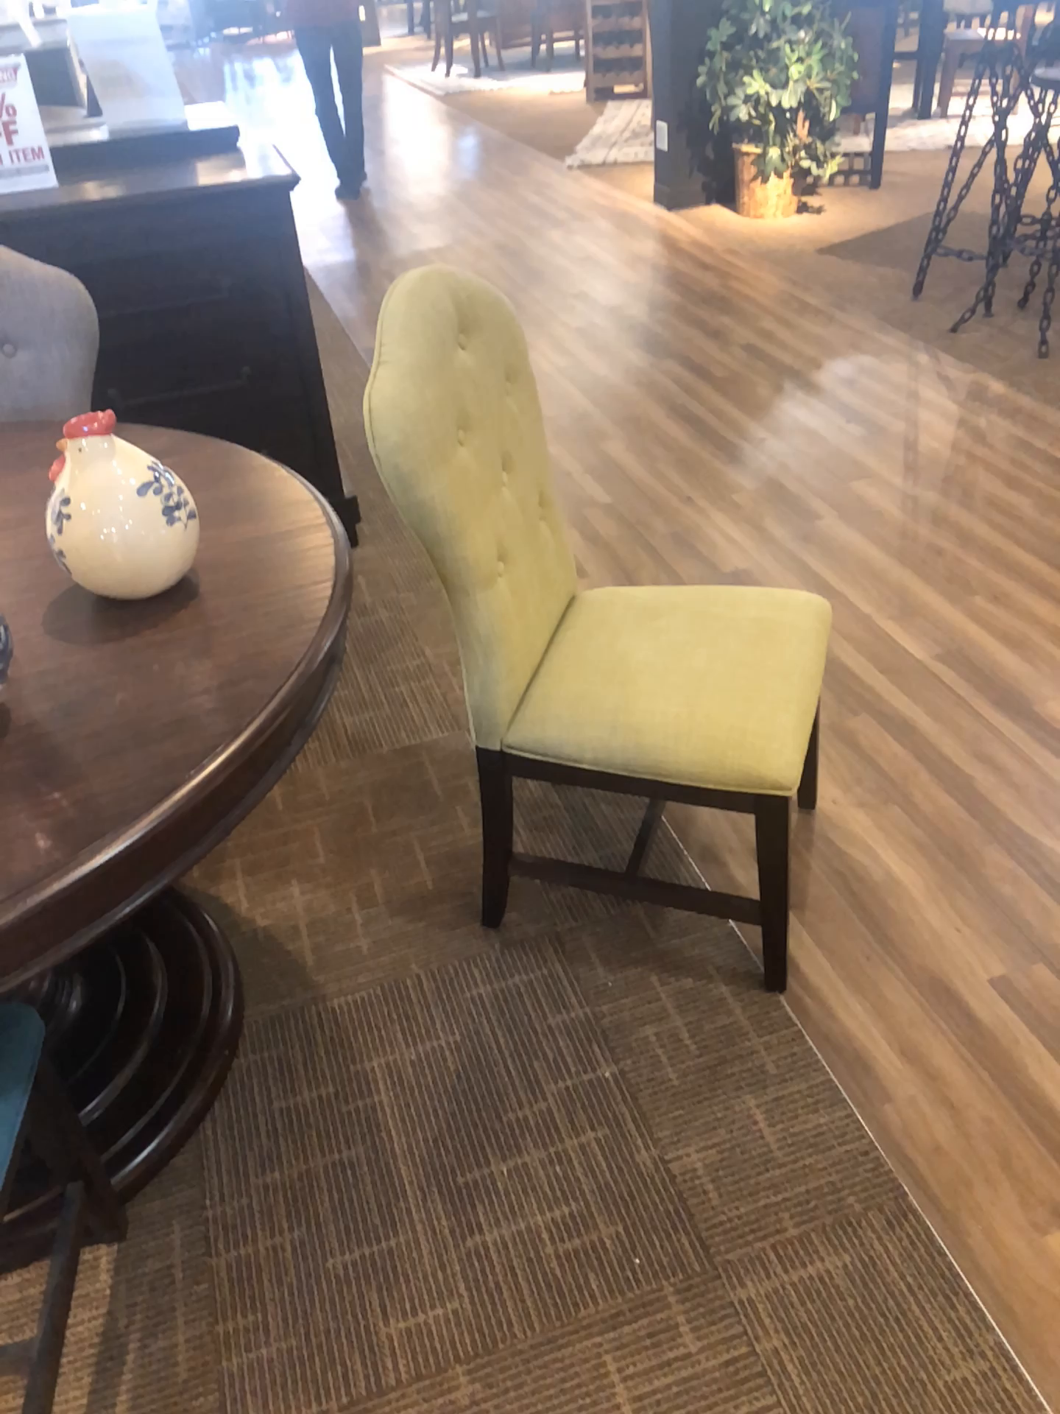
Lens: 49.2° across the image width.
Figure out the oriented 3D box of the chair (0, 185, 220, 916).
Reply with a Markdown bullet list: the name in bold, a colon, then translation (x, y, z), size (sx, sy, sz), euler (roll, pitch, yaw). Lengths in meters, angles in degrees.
- **chair**: translation (-0.890, -0.266, 1.932), size (0.508, 0.950, 0.638), euler (-12, 36, -9)

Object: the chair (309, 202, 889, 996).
- **chair**: translation (0.152, -0.157, 1.713), size (0.615, 0.980, 0.541), euler (6, 37, 14)

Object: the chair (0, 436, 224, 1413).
- **chair**: translation (-0.628, 0.373, 0.968), size (0.518, 0.960, 0.578), euler (-10, 36, -7)
